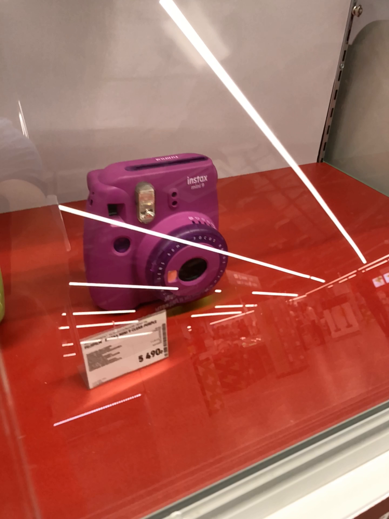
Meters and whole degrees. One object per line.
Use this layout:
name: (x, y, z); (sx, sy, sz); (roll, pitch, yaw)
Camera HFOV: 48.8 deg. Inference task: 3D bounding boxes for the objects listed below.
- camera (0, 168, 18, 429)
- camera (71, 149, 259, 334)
camera: (-0.207, 0.018, 0.285); (0.135, 0.118, 0.073); (-17, 38, -27)
camera: (-0.024, -0.019, 0.340); (0.117, 0.103, 0.073); (-13, 37, -23)
